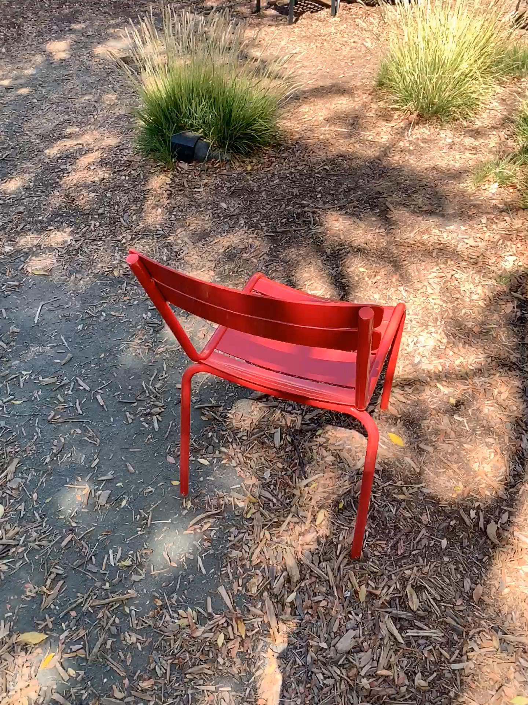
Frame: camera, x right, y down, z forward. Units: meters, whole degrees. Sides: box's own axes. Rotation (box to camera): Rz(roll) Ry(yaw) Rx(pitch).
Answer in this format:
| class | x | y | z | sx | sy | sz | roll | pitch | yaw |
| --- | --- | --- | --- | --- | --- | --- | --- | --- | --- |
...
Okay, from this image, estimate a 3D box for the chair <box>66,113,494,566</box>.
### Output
| class | x | y | z | sx | sy | sz | roll | pitch | yaw |
| --- | --- | --- | --- | --- | --- | --- | --- | --- | --- |
| chair | 0.082 | -0.009 | 1.283 | 0.611 | 0.787 | 0.571 | 16 | 54 | 17 |
